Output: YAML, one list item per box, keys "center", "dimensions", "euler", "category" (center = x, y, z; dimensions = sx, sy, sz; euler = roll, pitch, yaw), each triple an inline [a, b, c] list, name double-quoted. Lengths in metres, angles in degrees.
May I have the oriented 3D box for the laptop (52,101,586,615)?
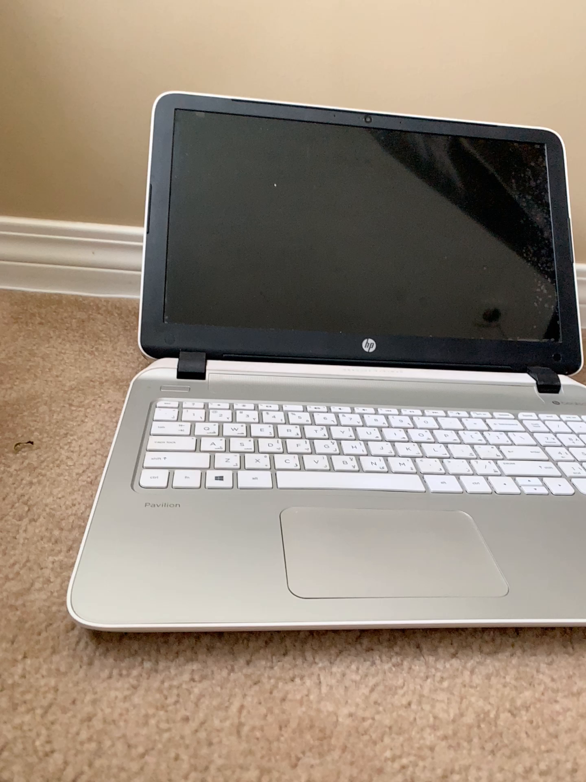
- center: [0.077, -0.063, 0.391]
  dimensions: [0.349, 0.187, 0.351]
  euler: [2, 28, -6]
  category: "laptop"
